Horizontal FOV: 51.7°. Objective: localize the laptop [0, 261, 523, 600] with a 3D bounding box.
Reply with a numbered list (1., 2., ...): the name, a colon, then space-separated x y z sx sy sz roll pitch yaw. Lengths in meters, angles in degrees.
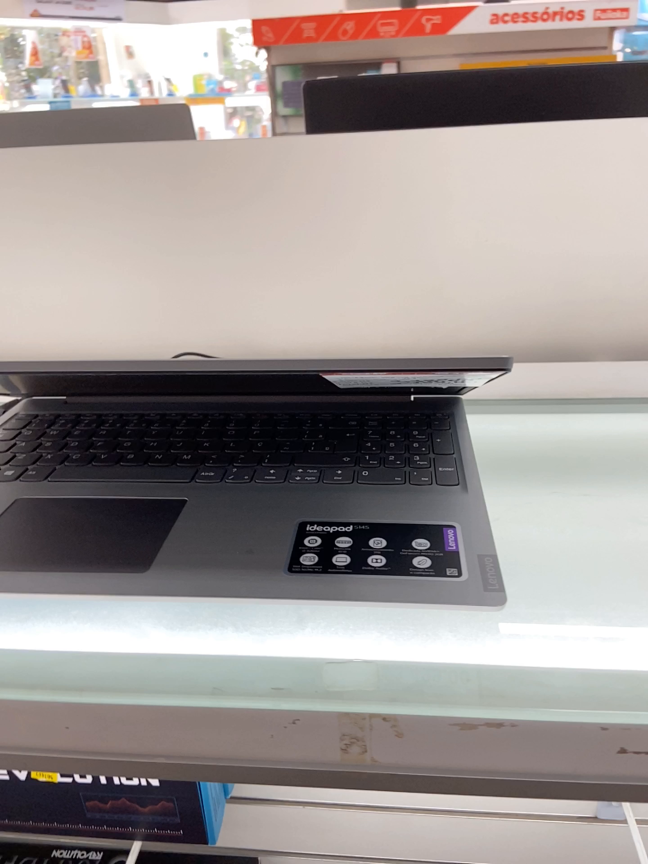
1. laptop: -0.085 -0.023 0.406 0.353 0.104 0.240 0 25 6
